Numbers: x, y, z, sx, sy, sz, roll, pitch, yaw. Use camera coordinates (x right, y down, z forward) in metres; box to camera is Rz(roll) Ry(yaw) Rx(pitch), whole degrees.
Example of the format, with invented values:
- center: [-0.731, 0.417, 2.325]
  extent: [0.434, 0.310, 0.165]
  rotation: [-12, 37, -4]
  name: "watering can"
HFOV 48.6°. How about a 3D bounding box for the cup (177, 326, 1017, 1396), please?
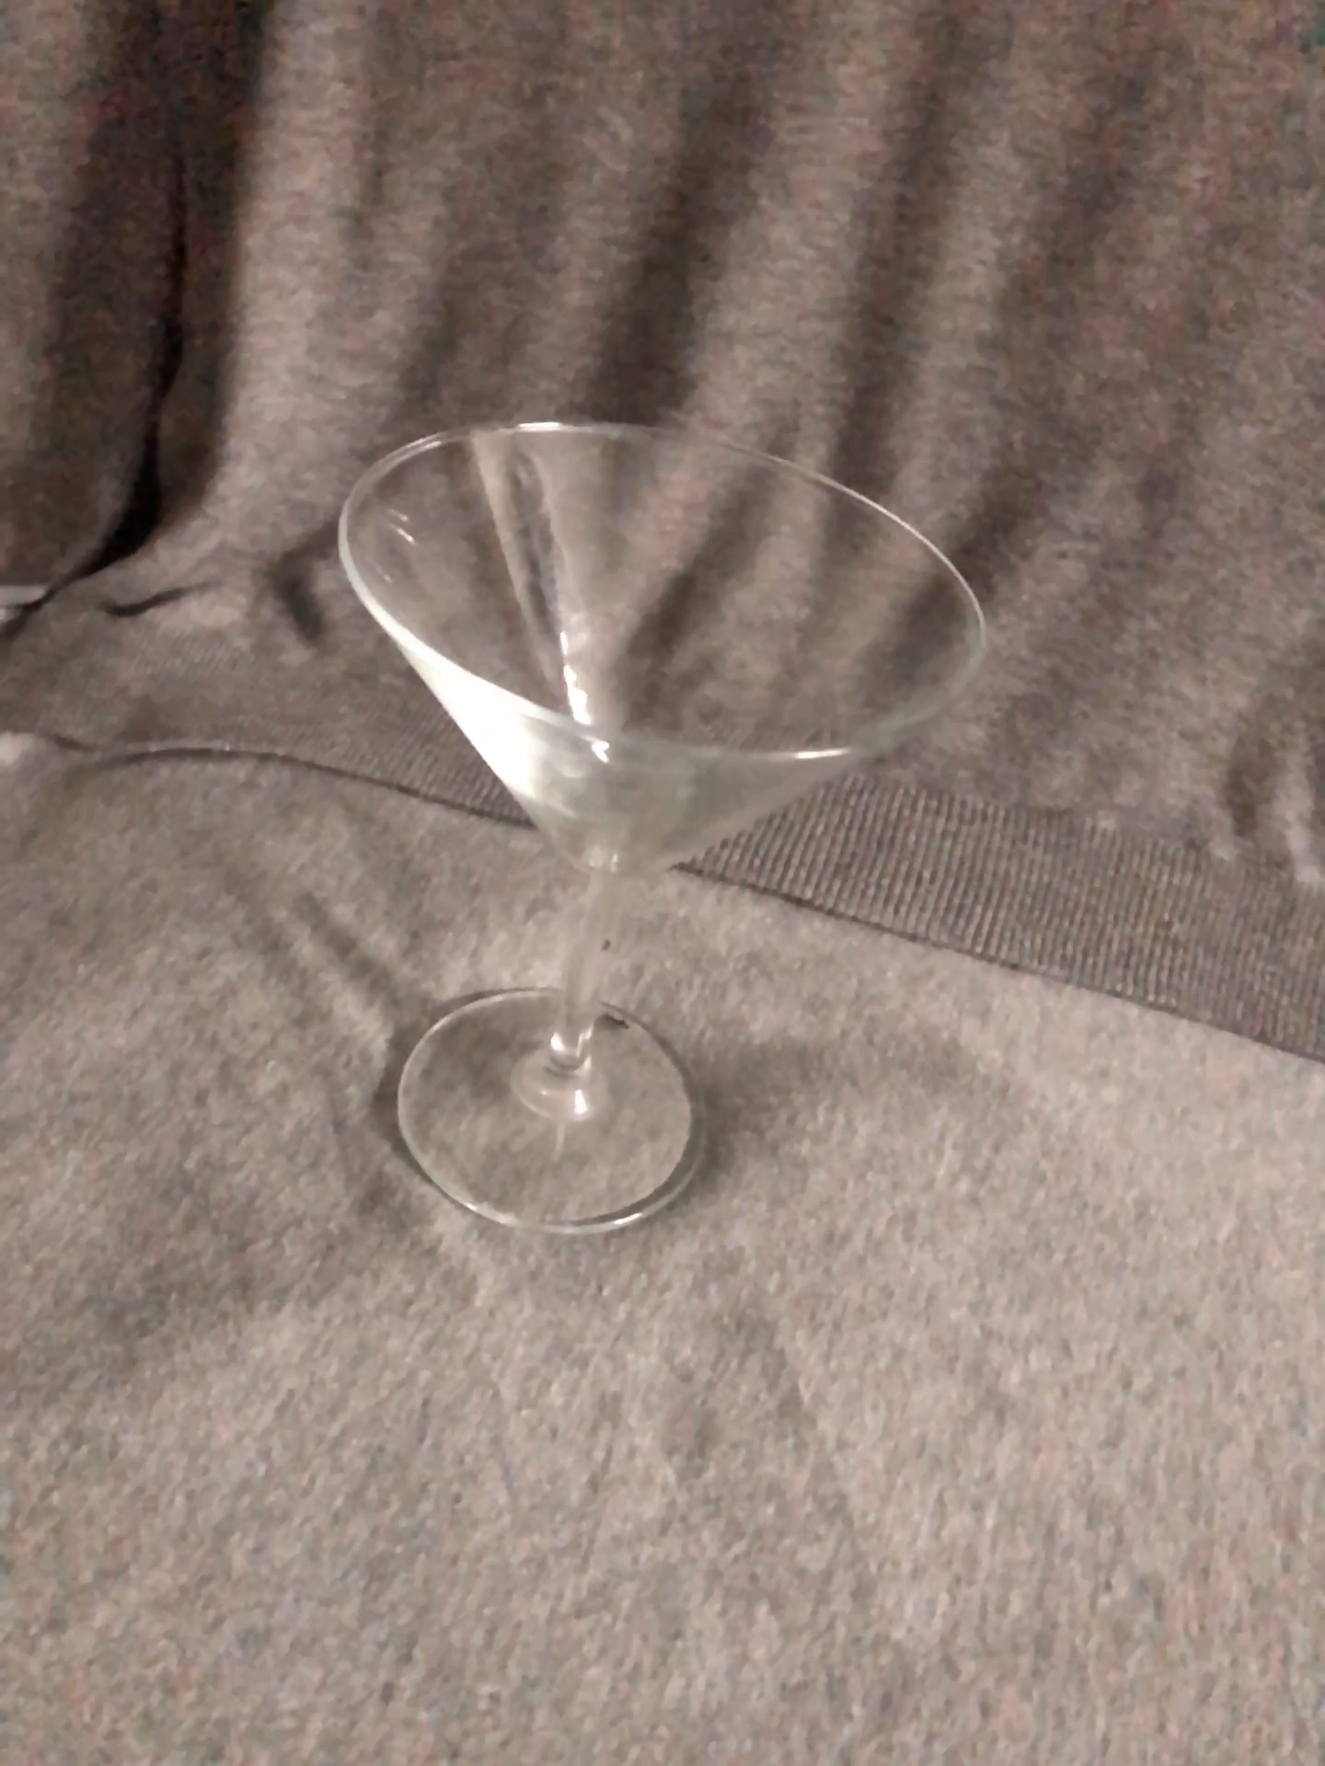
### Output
- center: [-0.018, -0.003, 0.302]
  extent: [0.113, 0.157, 0.112]
  rotation: [9, 42, -8]
  name: "cup"
